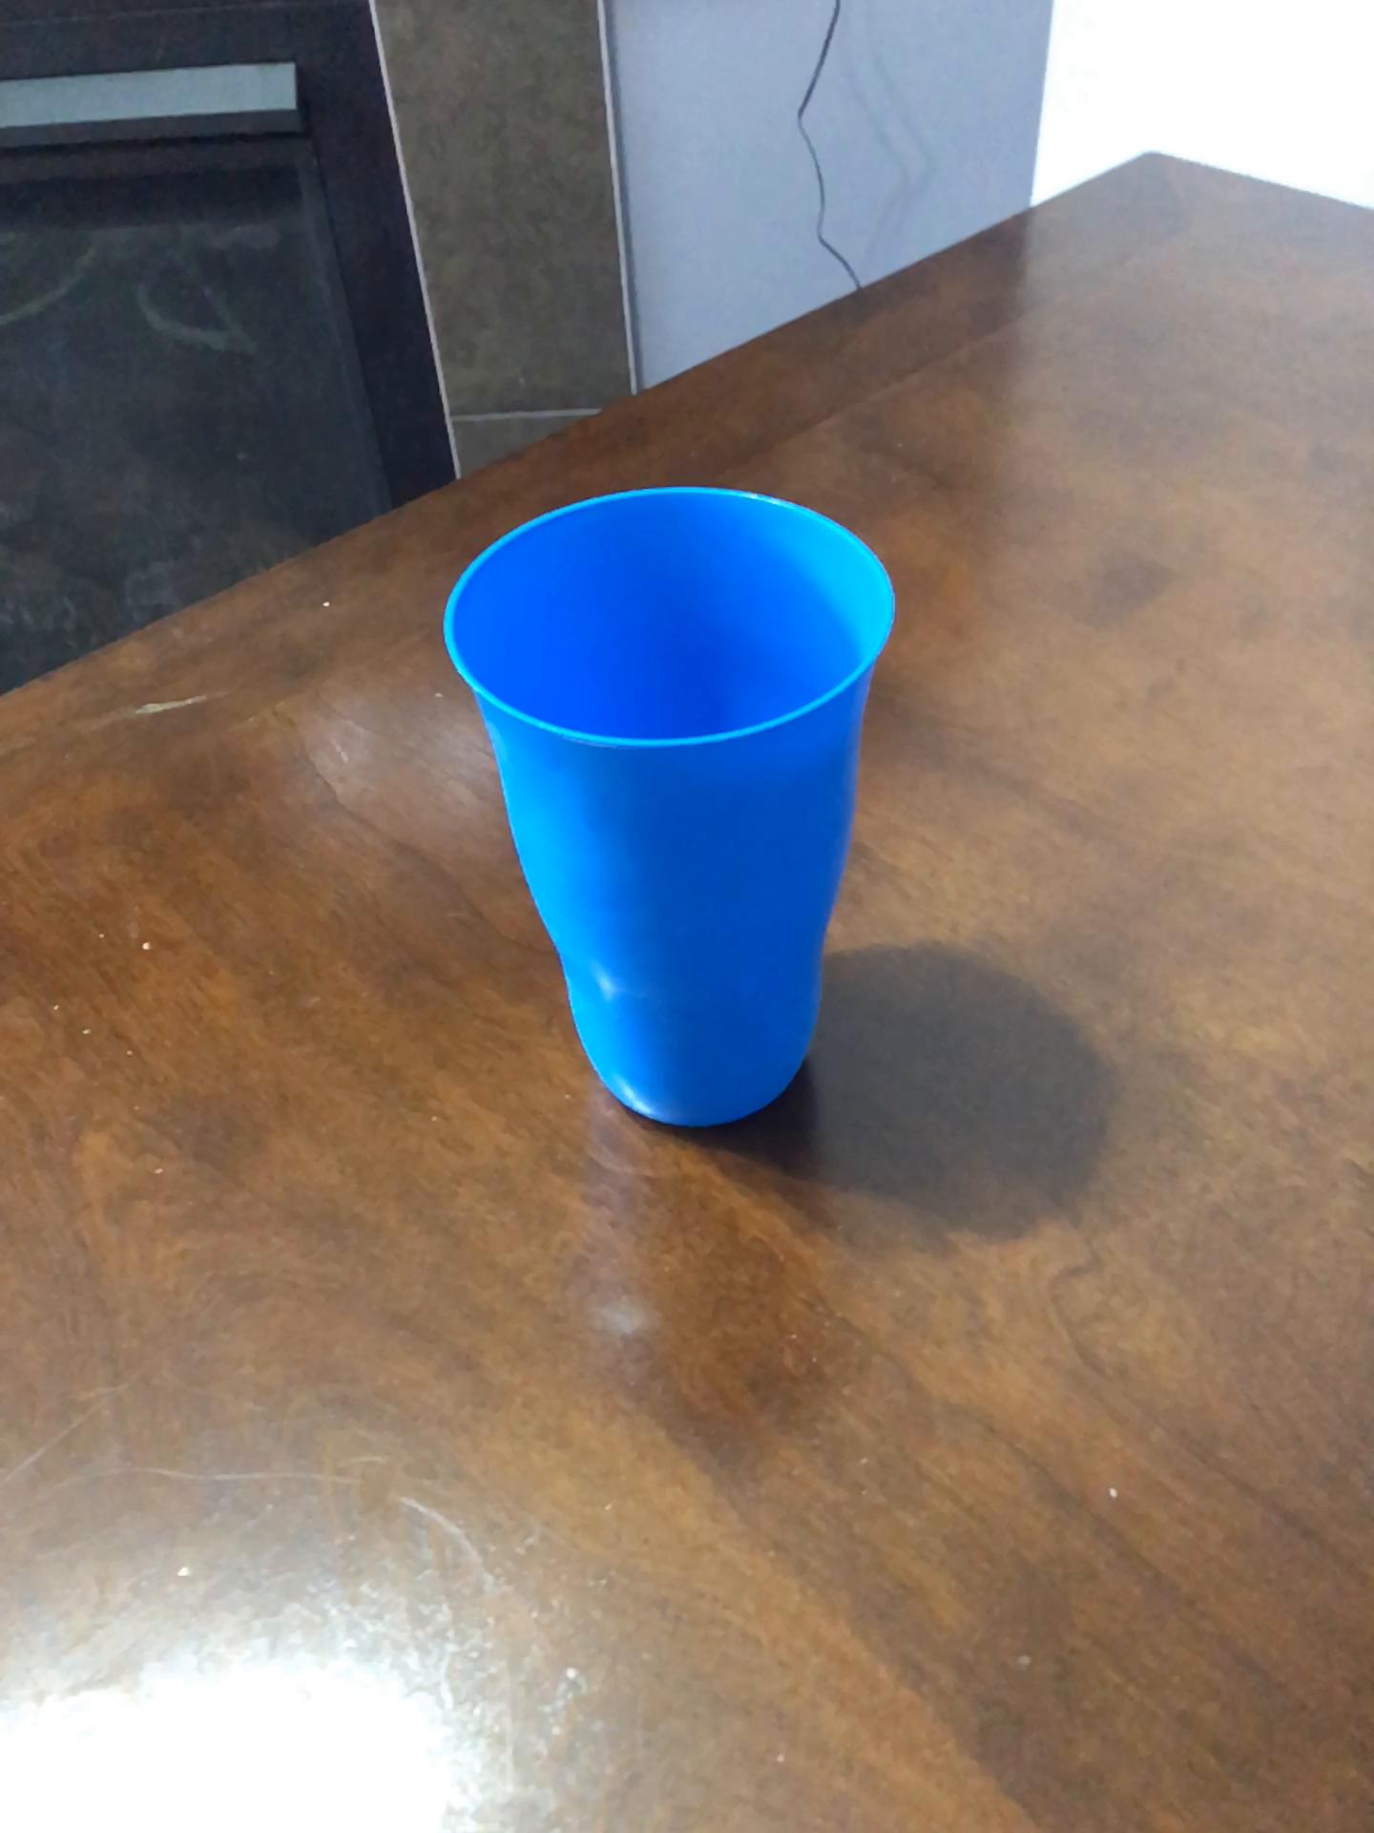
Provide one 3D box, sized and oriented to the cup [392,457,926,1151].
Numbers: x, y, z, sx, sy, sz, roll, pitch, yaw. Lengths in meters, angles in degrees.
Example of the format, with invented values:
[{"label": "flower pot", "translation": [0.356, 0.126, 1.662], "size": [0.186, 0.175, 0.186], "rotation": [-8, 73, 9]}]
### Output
[{"label": "cup", "translation": [0.001, -0.025, 0.364], "size": [0.100, 0.130, 0.100], "rotation": [-2, 45, 2]}]
